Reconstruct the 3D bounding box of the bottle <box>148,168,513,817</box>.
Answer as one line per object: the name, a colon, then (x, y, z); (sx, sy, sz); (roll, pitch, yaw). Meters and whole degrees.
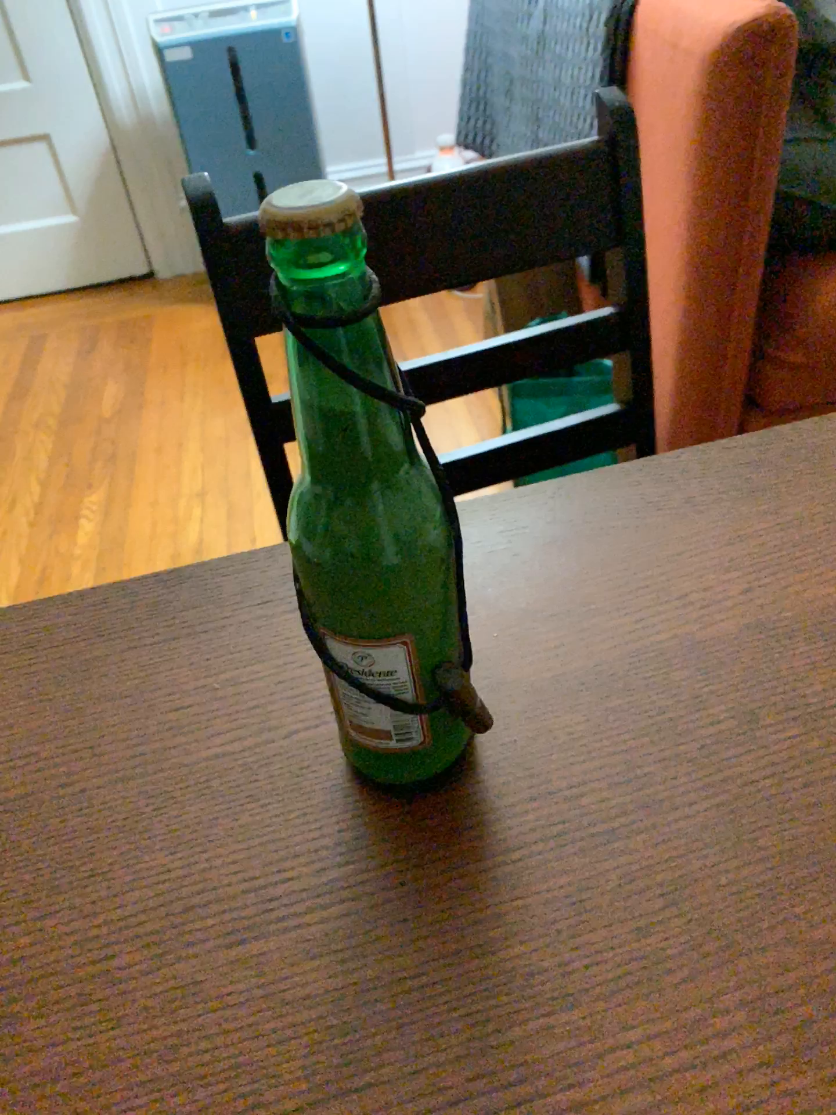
bottle: (-0.012, -0.006, 0.319); (0.080, 0.239, 0.070); (3, 42, 12)
